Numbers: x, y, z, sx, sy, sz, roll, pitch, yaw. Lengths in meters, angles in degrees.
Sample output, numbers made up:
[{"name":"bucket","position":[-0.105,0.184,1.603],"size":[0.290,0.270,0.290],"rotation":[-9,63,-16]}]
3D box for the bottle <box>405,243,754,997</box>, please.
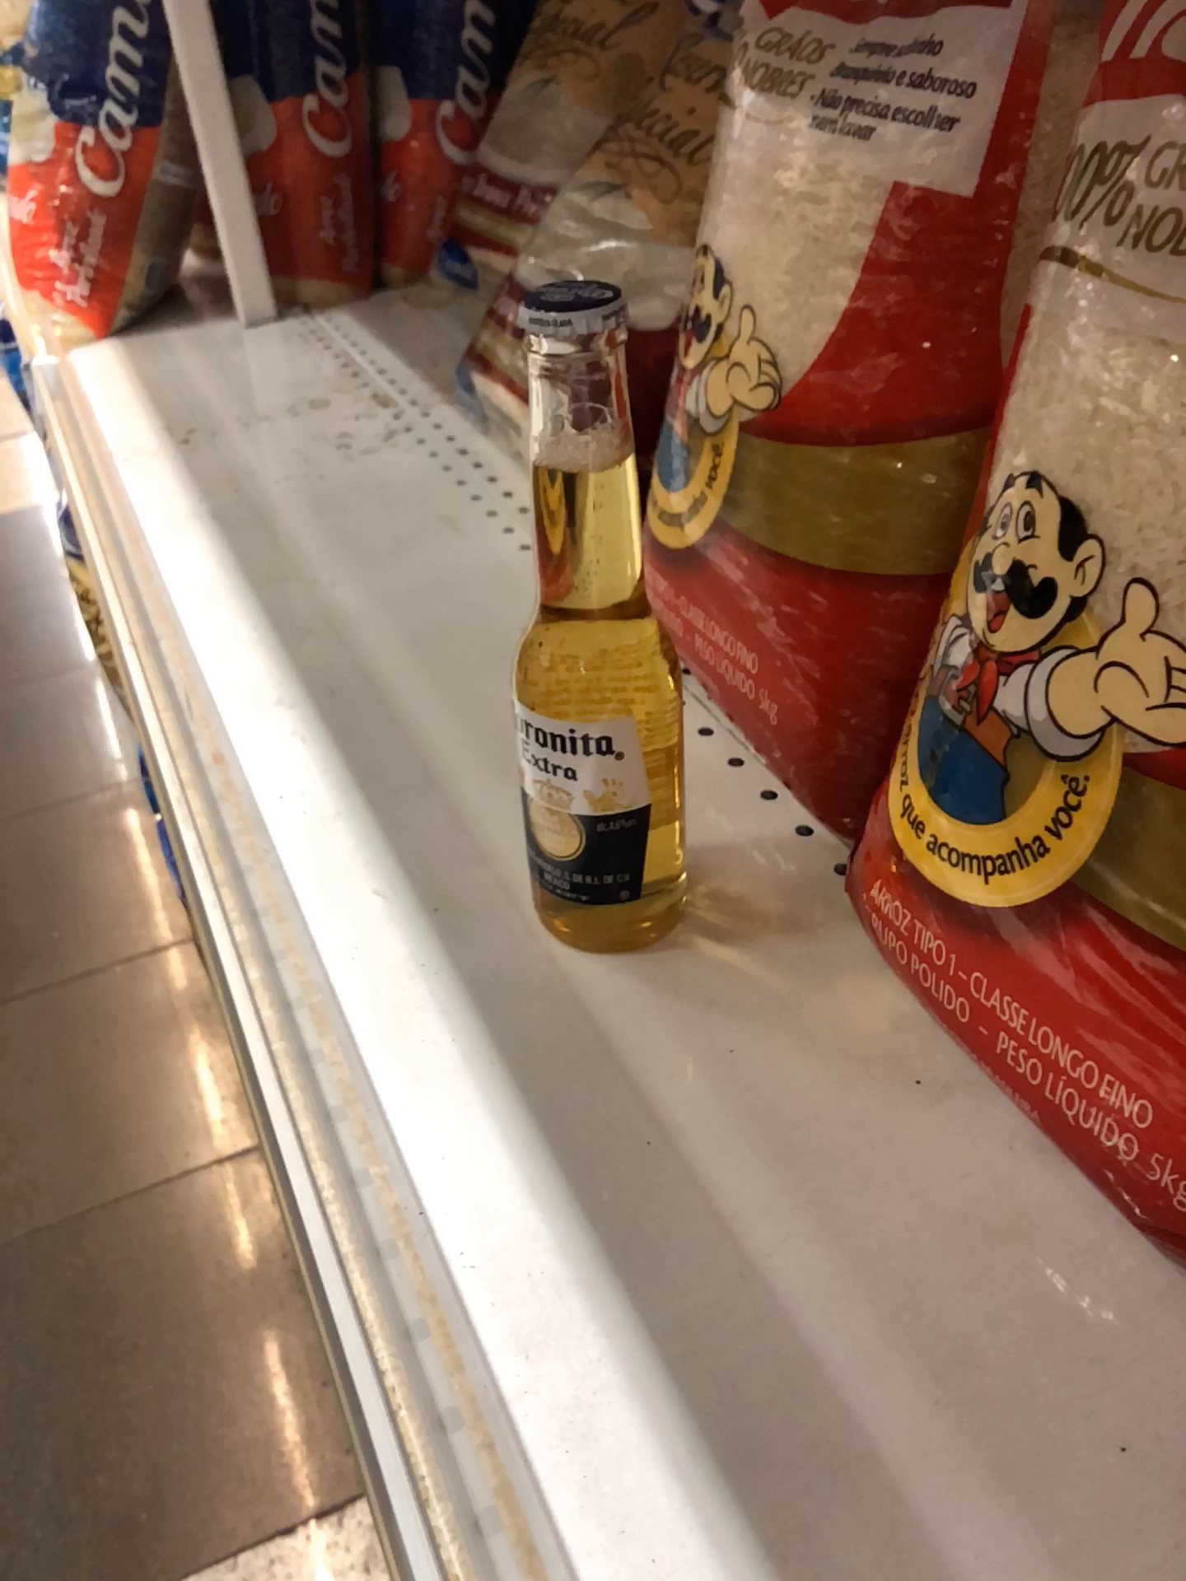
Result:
[{"name":"bottle","position":[0.004,-0.042,0.378],"size":[0.060,0.198,0.060],"rotation":[-3,36,2]}]
